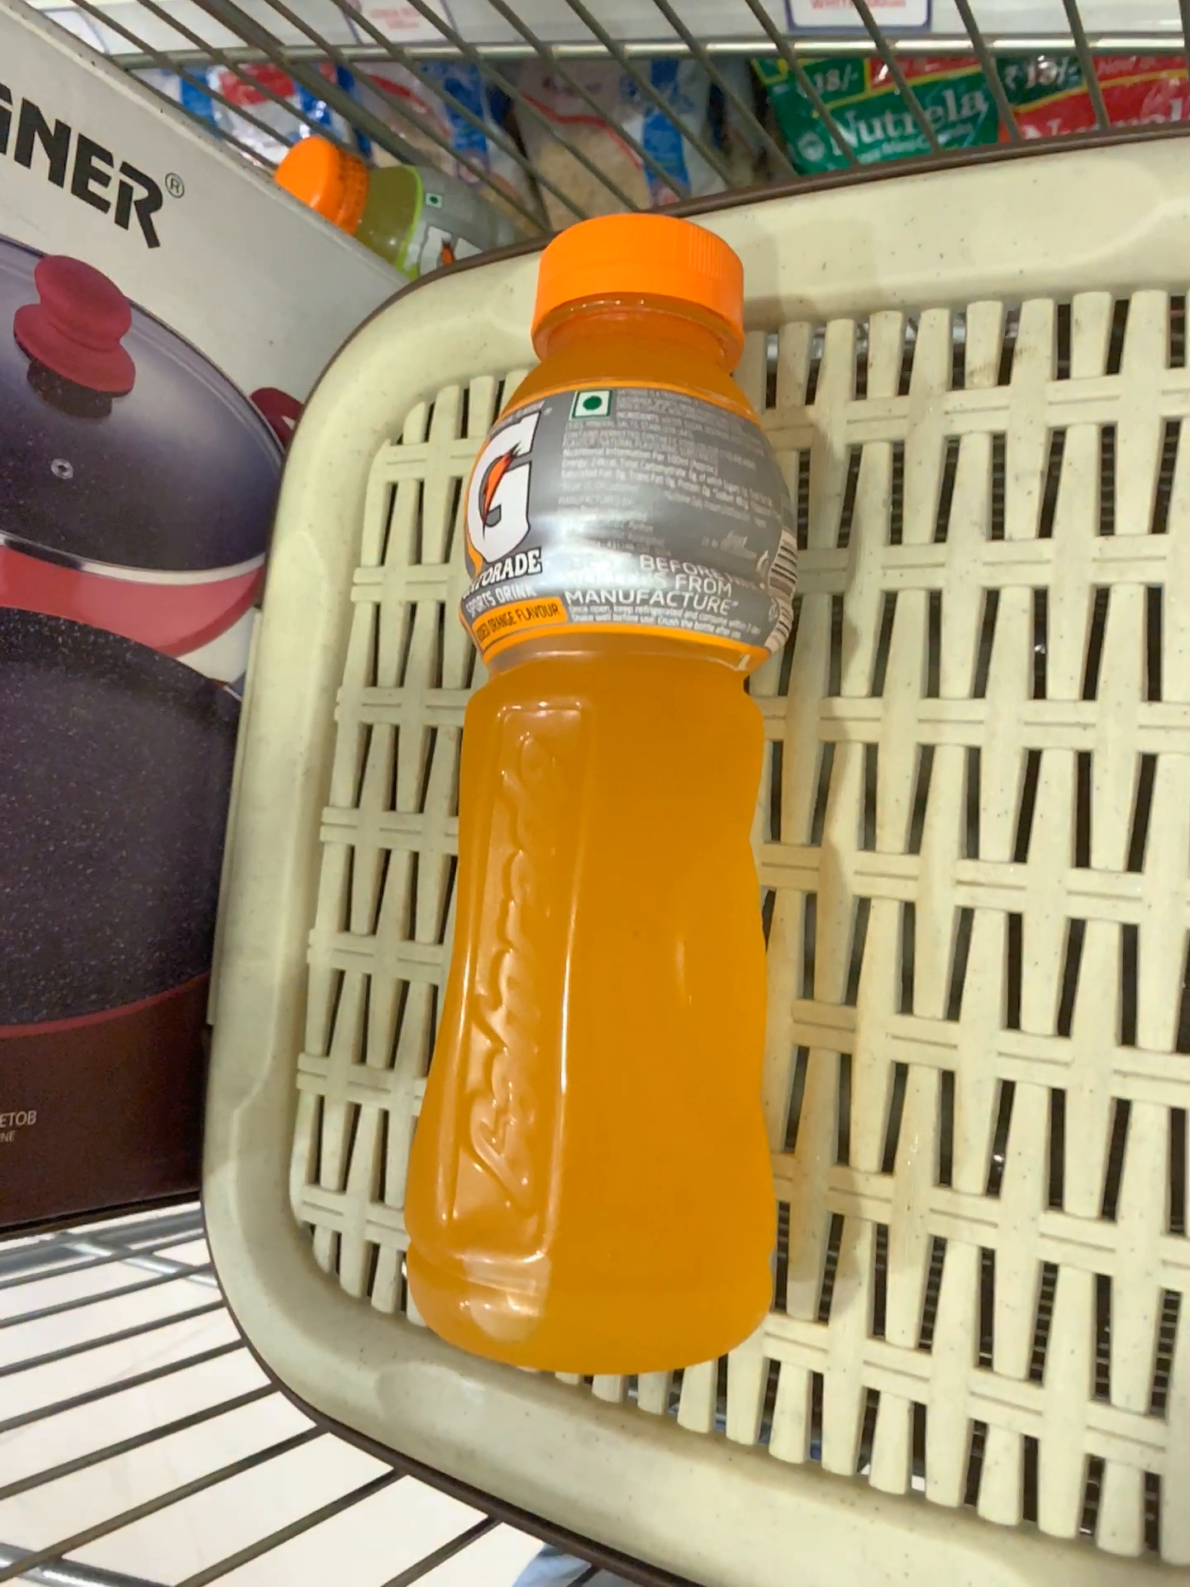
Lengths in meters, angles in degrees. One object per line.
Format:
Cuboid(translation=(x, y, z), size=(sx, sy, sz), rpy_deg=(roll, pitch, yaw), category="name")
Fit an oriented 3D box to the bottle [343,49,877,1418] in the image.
Cuboid(translation=(0.003, -0.010, 0.227), size=(0.060, 0.060, 0.210), rpy_deg=(-5, 79, 57), category="bottle")
